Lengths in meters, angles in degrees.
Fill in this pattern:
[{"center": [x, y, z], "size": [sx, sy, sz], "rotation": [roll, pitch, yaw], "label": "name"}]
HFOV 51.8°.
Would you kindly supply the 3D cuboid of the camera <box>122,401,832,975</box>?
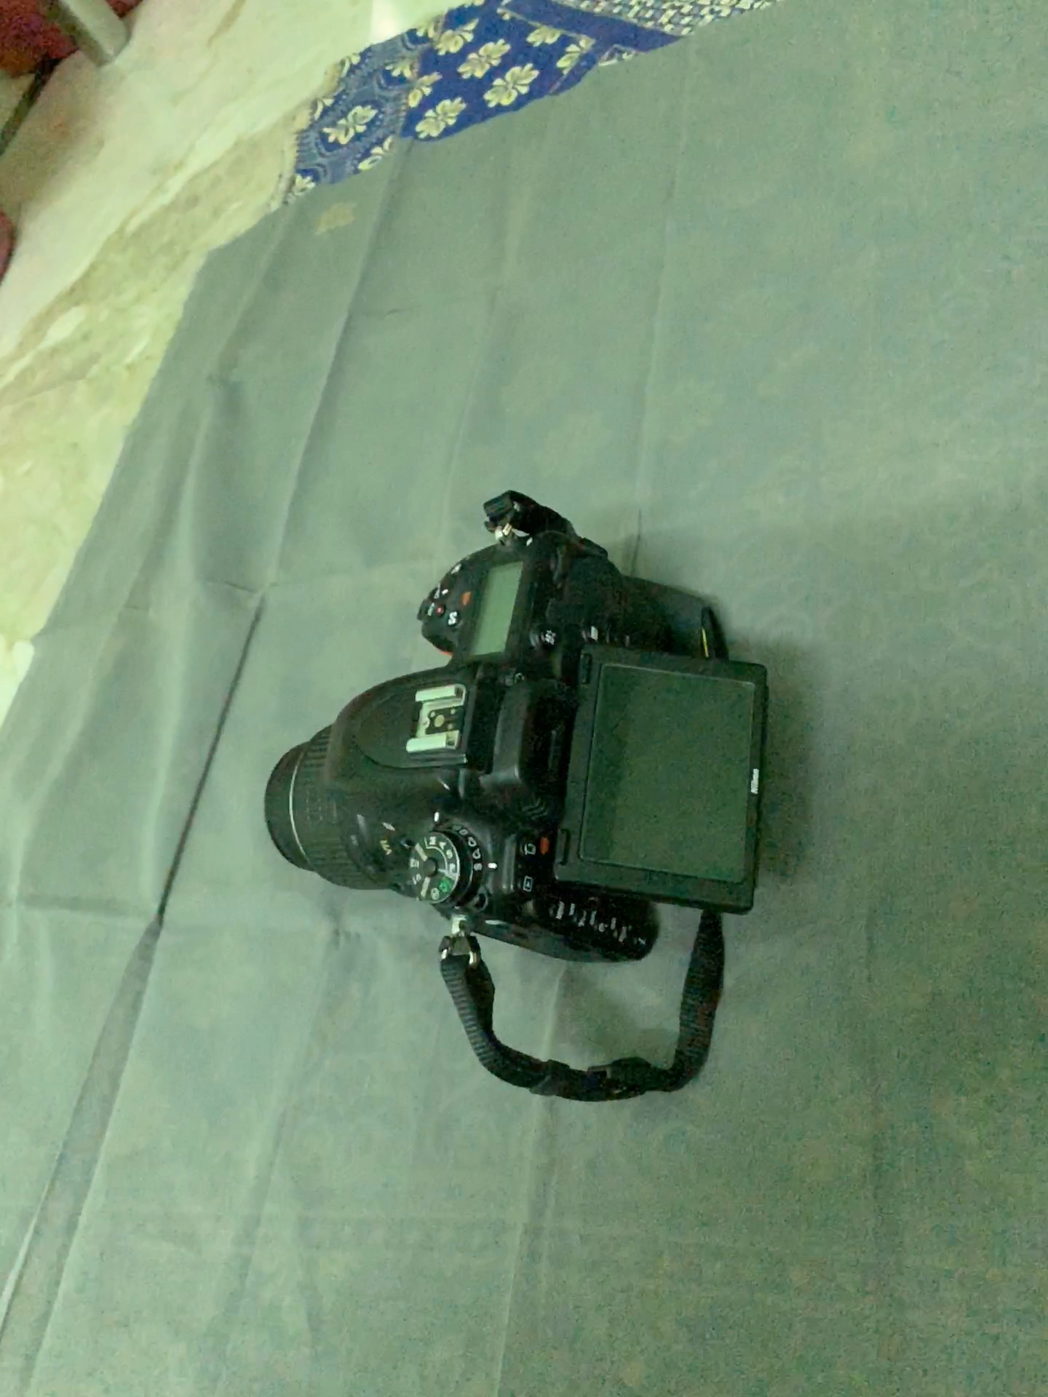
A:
[{"center": [-0.011, 0.010, 0.414], "size": [0.231, 0.100, 0.165], "rotation": [-8, 56, 28], "label": "camera"}]
